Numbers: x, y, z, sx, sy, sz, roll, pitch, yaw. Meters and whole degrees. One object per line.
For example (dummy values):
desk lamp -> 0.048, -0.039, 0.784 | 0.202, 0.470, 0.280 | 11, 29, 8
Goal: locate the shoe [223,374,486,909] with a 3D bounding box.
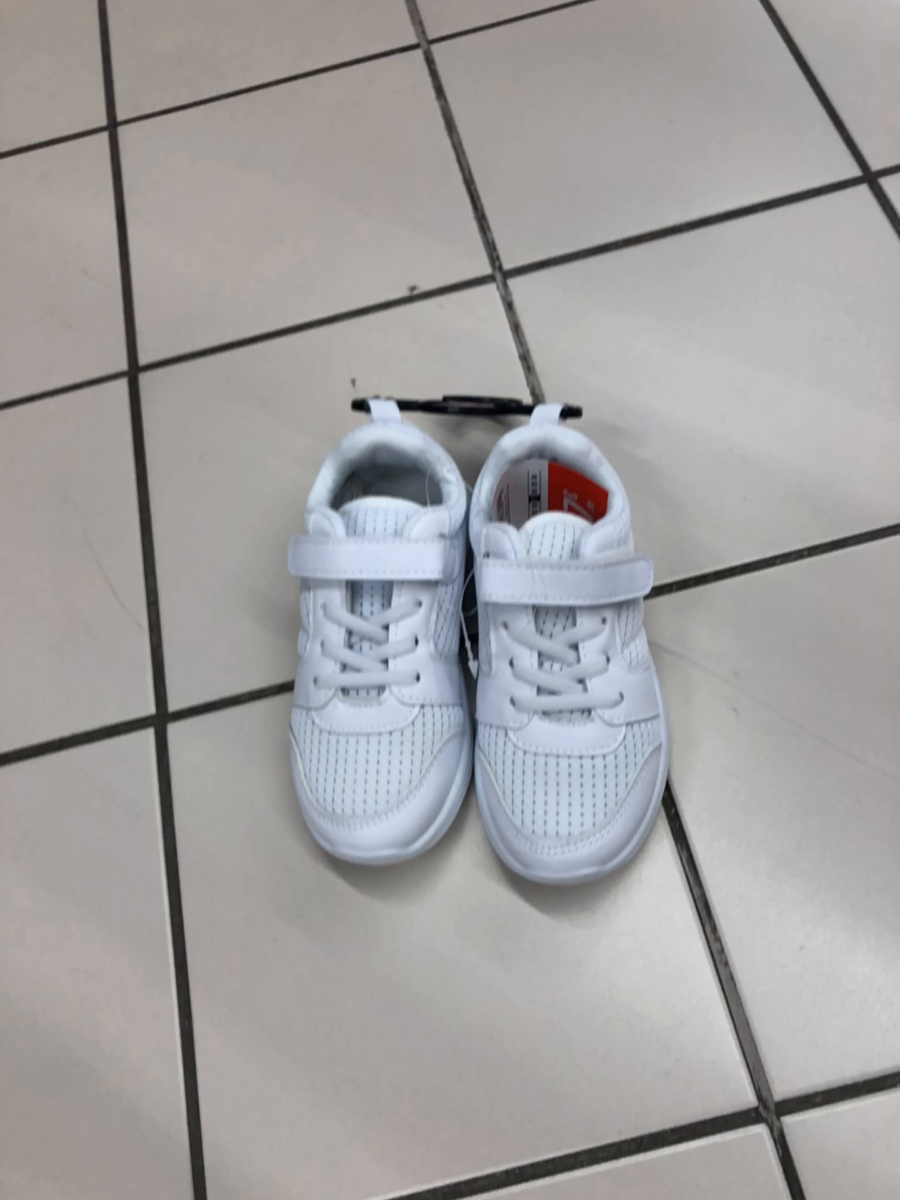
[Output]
shoe -> -0.029, 0.016, 0.407 | 0.080, 0.080, 0.201 | -3, 63, 7

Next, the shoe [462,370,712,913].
shoe -> 0.050, 0.015, 0.401 | 0.080, 0.080, 0.201 | -3, 63, 7
